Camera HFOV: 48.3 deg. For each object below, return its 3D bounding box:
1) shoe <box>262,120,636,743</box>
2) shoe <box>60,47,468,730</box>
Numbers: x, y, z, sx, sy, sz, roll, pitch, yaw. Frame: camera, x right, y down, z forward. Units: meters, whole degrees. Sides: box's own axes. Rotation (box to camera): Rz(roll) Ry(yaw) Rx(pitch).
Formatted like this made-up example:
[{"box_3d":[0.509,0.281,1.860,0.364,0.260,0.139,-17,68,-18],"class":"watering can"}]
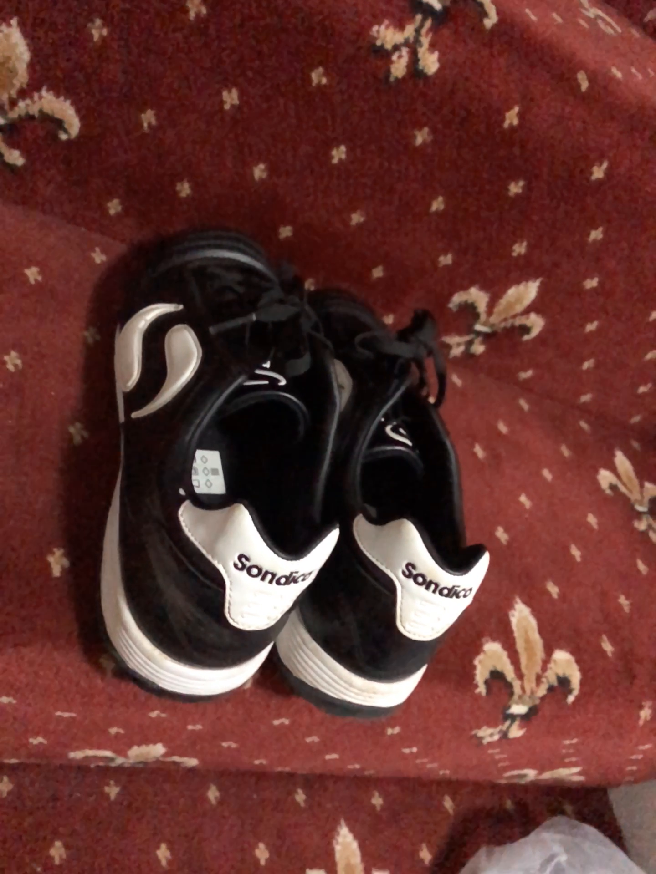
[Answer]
[{"box_3d":[0.036,-0.021,0.371,0.100,0.099,0.302,19,45,-25],"class":"shoe"},{"box_3d":[-0.038,-0.040,0.334,0.100,0.099,0.302,17,46,-27],"class":"shoe"}]
